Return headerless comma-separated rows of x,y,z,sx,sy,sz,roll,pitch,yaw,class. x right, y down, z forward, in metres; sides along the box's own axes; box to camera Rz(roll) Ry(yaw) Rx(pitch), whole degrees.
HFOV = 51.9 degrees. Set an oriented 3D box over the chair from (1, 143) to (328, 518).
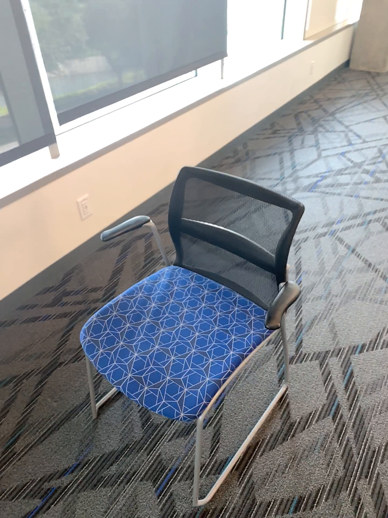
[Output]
-0.041,0.176,1.185,0.532,0.763,0.583,25,45,31,chair
